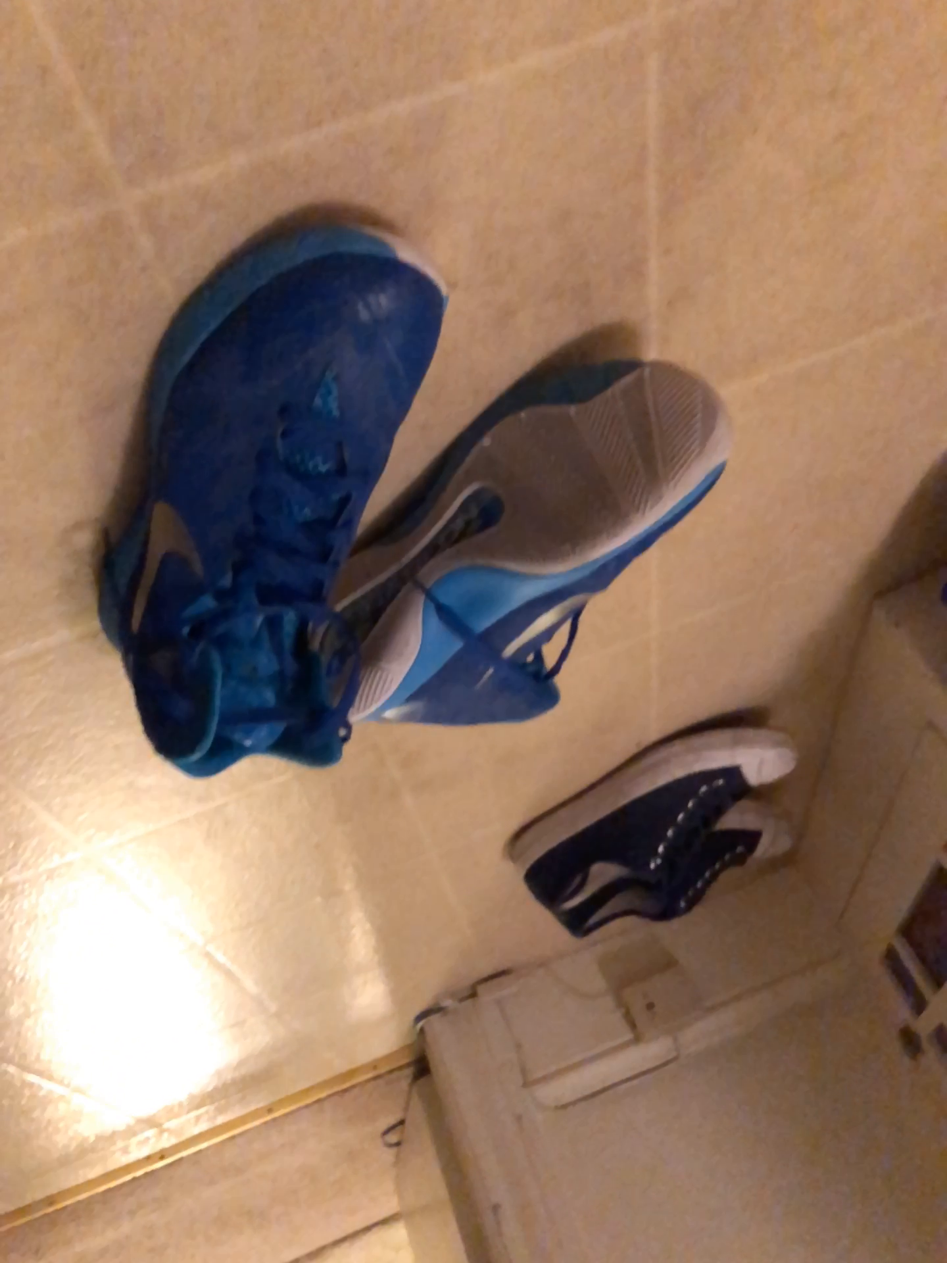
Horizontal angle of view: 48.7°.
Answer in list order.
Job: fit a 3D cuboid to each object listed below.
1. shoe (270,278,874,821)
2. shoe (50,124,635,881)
[{"bbox_3d":[0.046,-0.022,0.587,0.160,0.120,0.281,12,132,-48],"label":"shoe"},{"bbox_3d":[-0.088,-0.032,0.483,0.120,0.144,0.311,5,136,-36],"label":"shoe"}]
